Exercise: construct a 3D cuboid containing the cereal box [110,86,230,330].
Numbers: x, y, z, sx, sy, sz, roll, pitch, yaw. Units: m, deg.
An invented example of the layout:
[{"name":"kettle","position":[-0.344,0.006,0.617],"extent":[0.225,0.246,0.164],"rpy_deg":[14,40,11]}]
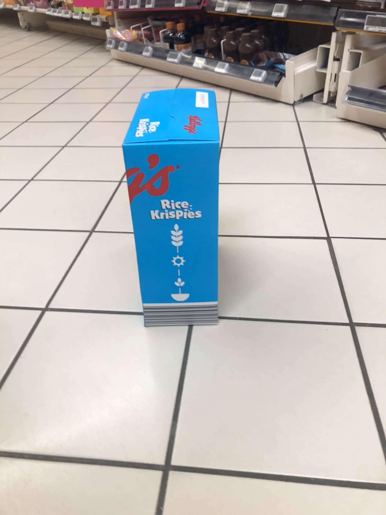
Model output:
[{"name":"cereal box","position":[-0.013,-0.066,0.537],"extent":[0.110,0.239,0.201],"rpy_deg":[0,34,3]}]
